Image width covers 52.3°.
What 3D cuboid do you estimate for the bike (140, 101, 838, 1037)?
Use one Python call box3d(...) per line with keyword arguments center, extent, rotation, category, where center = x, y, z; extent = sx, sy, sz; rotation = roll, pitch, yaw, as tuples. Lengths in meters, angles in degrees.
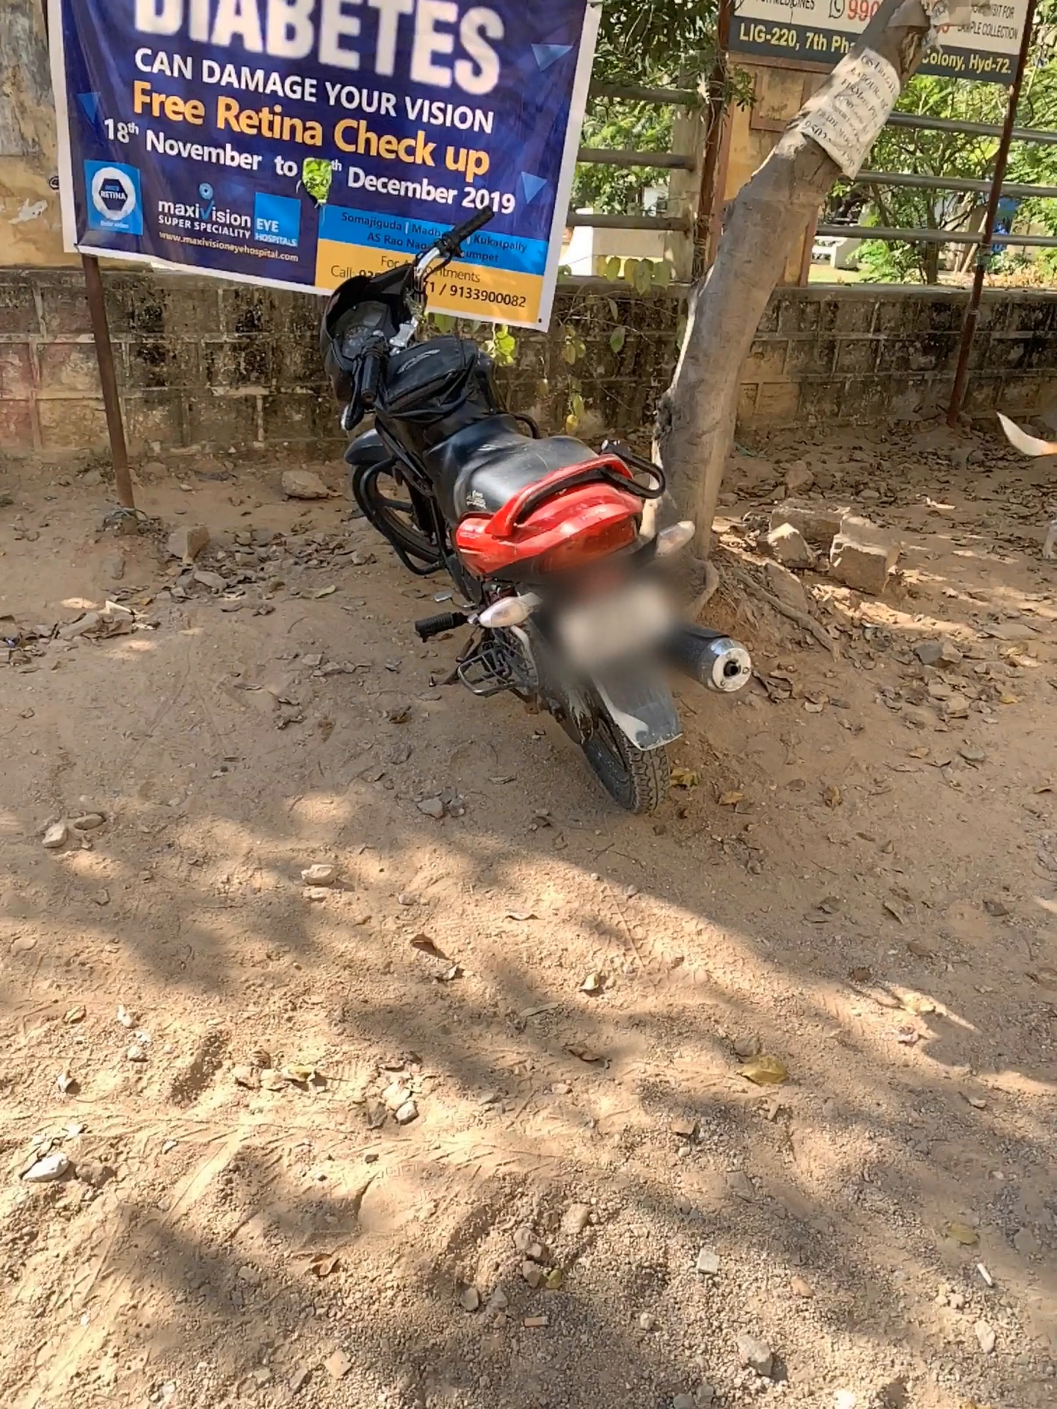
box3d(center=(-0.257, -0.474, 2.507), extent=(0.752, 1.442, 1.621), rotation=(-10, 32, -27), category="bike")
